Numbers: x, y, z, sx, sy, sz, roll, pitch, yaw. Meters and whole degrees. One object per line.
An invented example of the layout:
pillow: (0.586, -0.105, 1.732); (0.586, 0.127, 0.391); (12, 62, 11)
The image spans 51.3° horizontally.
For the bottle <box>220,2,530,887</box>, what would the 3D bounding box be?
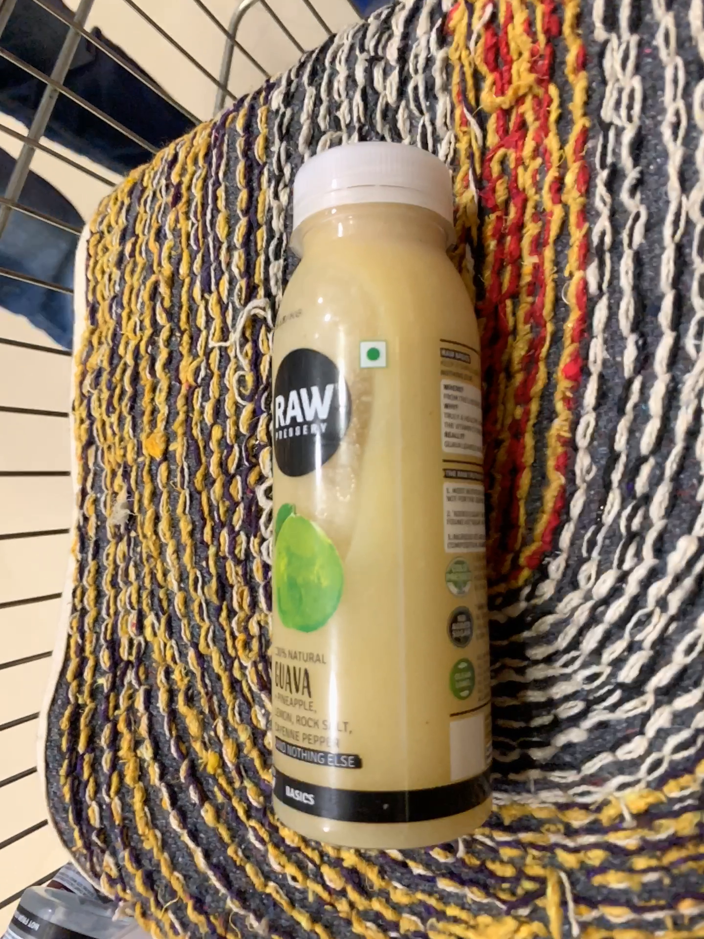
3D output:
bottle: (0.005, -0.007, 0.162); (0.050, 0.040, 0.160); (-6, 80, 42)
